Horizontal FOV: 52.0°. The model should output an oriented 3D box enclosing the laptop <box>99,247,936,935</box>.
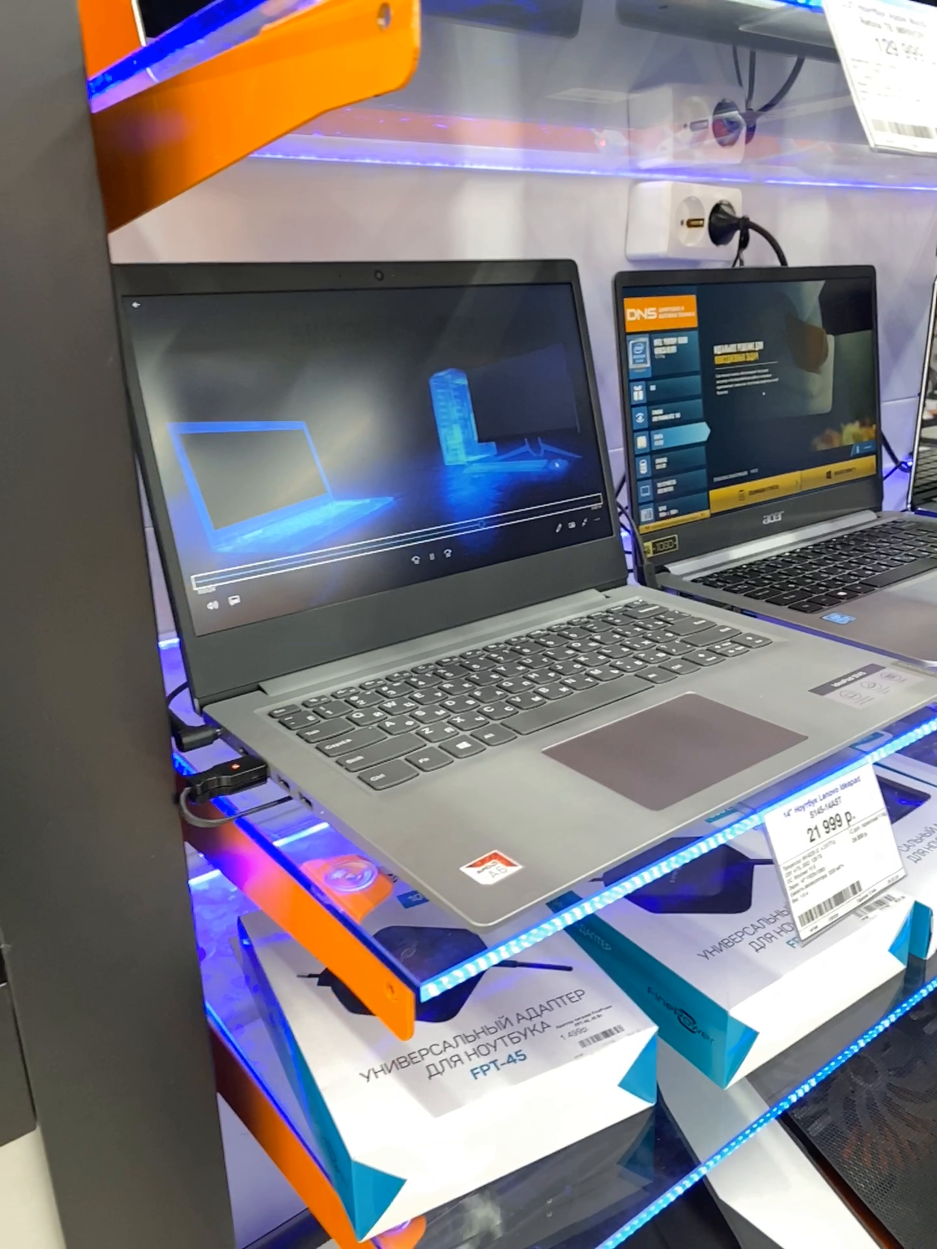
[{"bbox_3d":[0.039,-0.073,0.493,0.327,0.215,0.303,-15,24,-35],"label":"laptop"}]
